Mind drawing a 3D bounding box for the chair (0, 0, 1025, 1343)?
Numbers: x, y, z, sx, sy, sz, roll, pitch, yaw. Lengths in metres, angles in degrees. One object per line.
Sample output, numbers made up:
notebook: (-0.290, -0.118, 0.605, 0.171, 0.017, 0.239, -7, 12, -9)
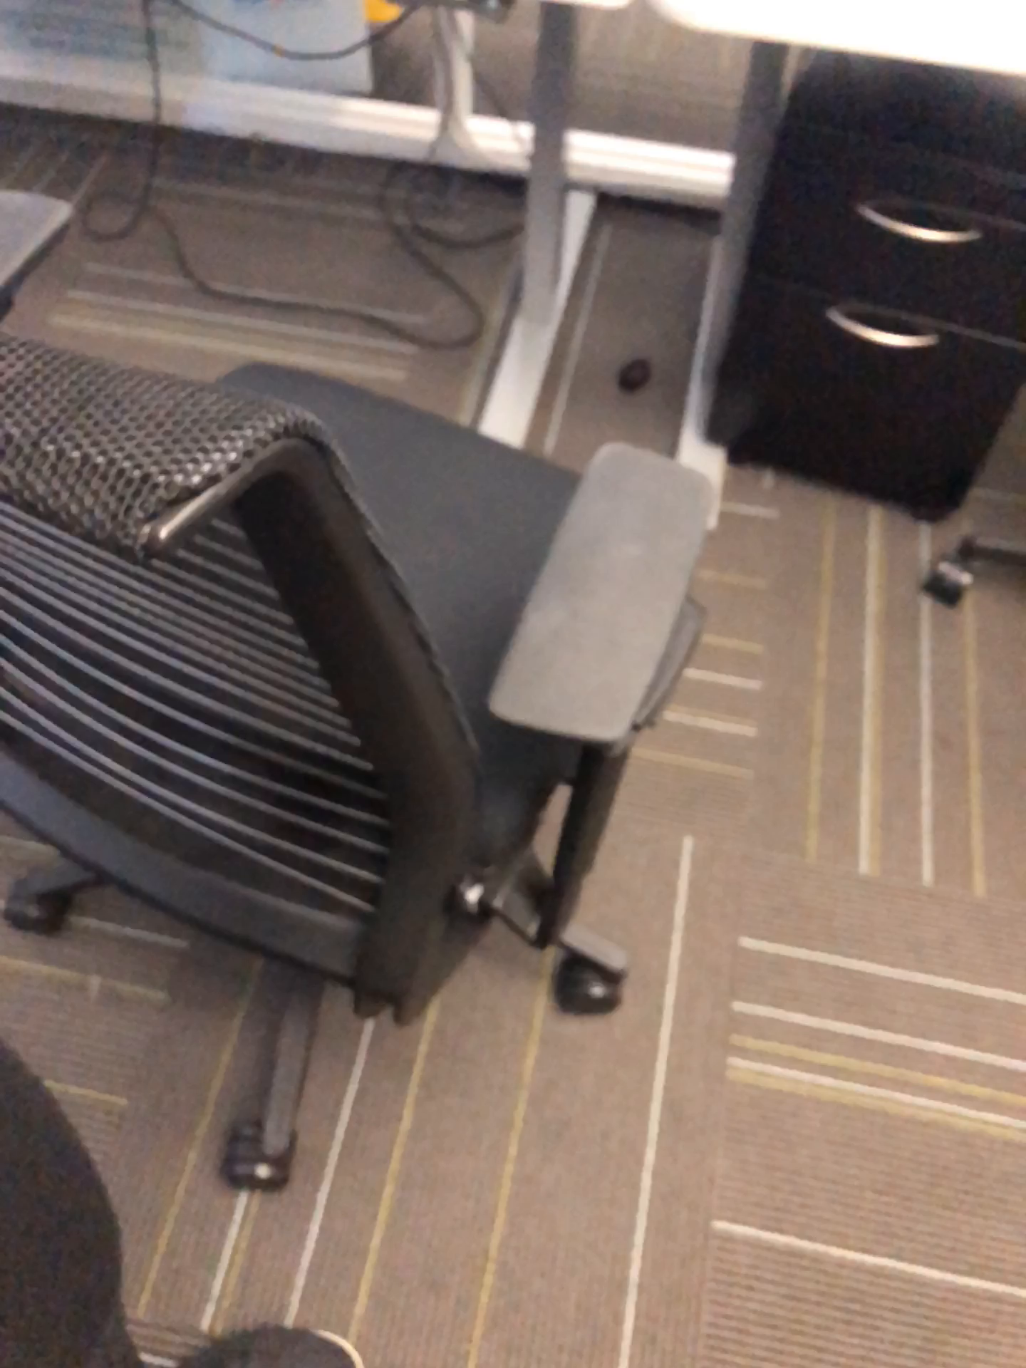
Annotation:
chair: (-0.206, -0.078, 0.886, 0.751, 0.997, 0.662, 22, 57, 13)
